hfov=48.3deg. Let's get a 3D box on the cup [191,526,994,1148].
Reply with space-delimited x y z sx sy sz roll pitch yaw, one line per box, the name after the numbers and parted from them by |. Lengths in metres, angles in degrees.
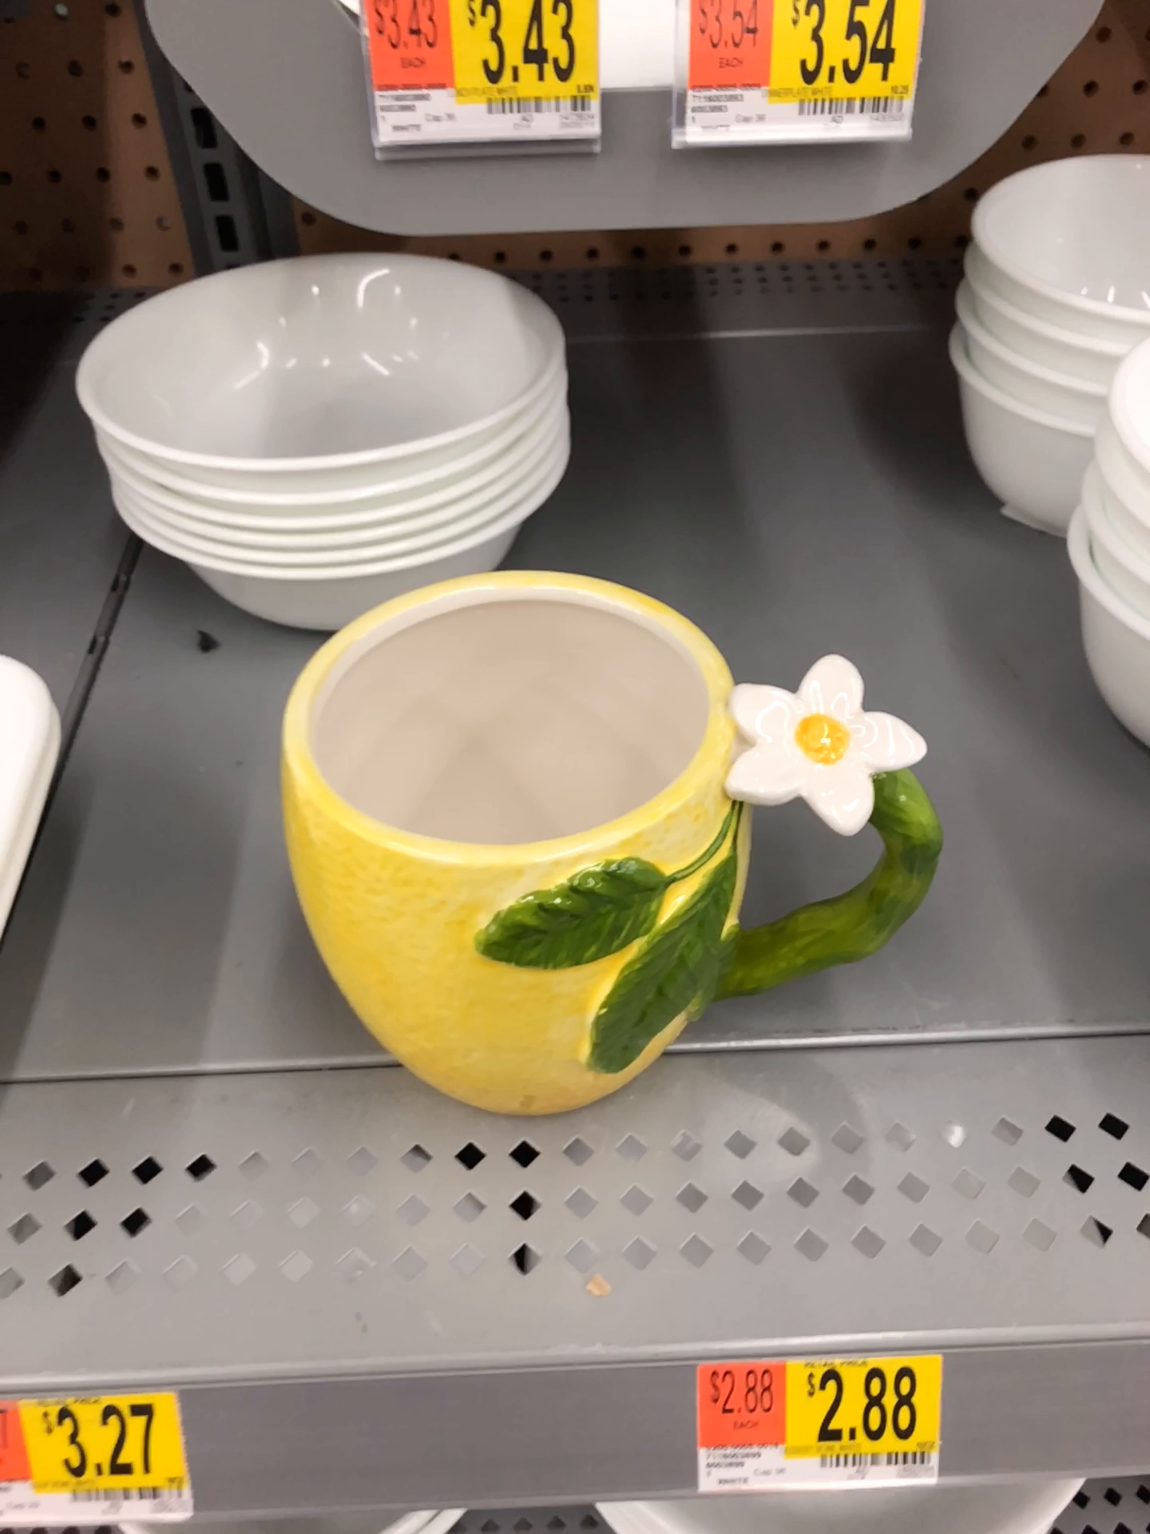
0.003 0.015 0.292 0.139 0.094 0.101 -1 44 0 | cup
